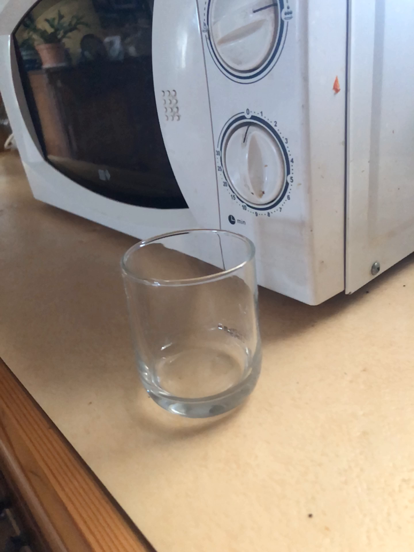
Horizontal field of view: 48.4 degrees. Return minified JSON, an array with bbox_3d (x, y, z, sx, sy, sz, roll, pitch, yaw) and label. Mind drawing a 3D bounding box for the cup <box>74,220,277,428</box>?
[{"bbox_3d":[-0.009,0.018,0.229,0.070,0.070,0.070,-5,26,3],"label":"cup"}]
